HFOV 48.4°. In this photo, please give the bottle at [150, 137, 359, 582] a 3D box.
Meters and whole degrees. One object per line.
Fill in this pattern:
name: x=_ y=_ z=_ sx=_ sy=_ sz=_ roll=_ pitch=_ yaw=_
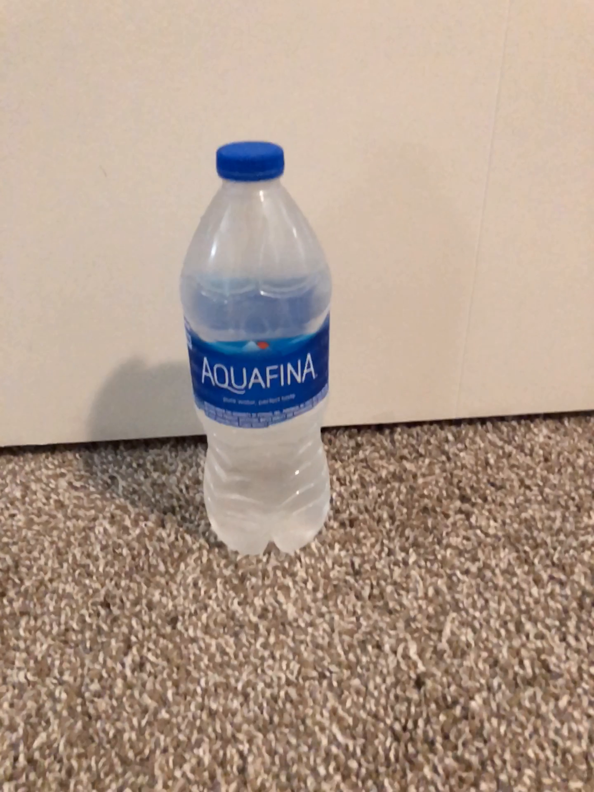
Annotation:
bottle: x=-0.014 y=-0.011 z=0.301 sx=0.070 sy=0.189 sz=0.070 roll=-1 pitch=31 yaw=0
